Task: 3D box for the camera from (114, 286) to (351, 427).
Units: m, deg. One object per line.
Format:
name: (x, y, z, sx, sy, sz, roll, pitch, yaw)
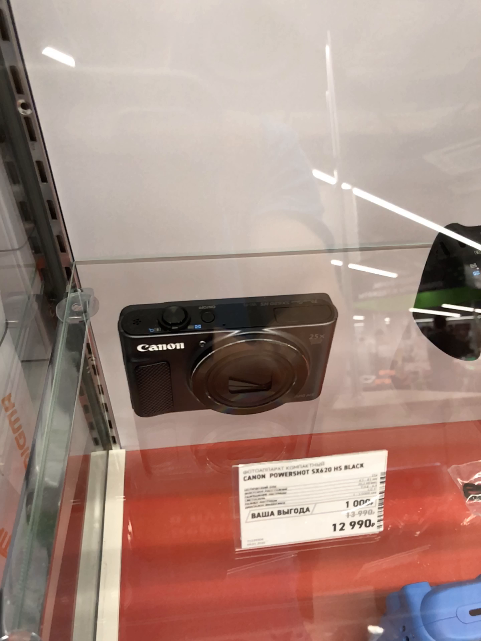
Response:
camera: (-0.005, 0.017, 0.249, 0.098, 0.055, 0.030, -4, 45, -5)
